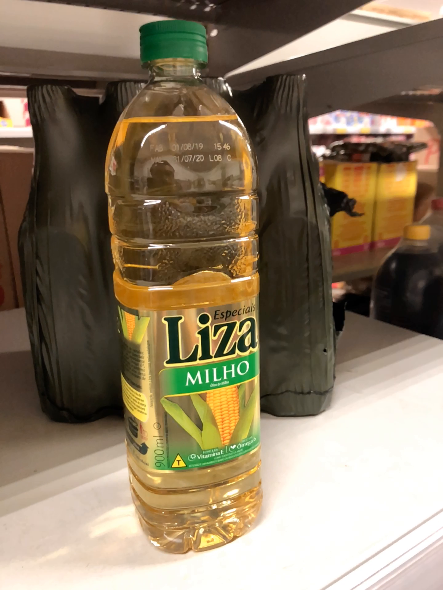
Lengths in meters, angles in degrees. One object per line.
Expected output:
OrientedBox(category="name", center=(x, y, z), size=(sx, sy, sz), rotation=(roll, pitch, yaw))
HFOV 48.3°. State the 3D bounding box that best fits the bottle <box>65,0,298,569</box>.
OrientedBox(category="bottle", center=(-0.016, -0.005, 0.245), size=(0.080, 0.249, 0.070), rotation=(-9, 18, -23))
